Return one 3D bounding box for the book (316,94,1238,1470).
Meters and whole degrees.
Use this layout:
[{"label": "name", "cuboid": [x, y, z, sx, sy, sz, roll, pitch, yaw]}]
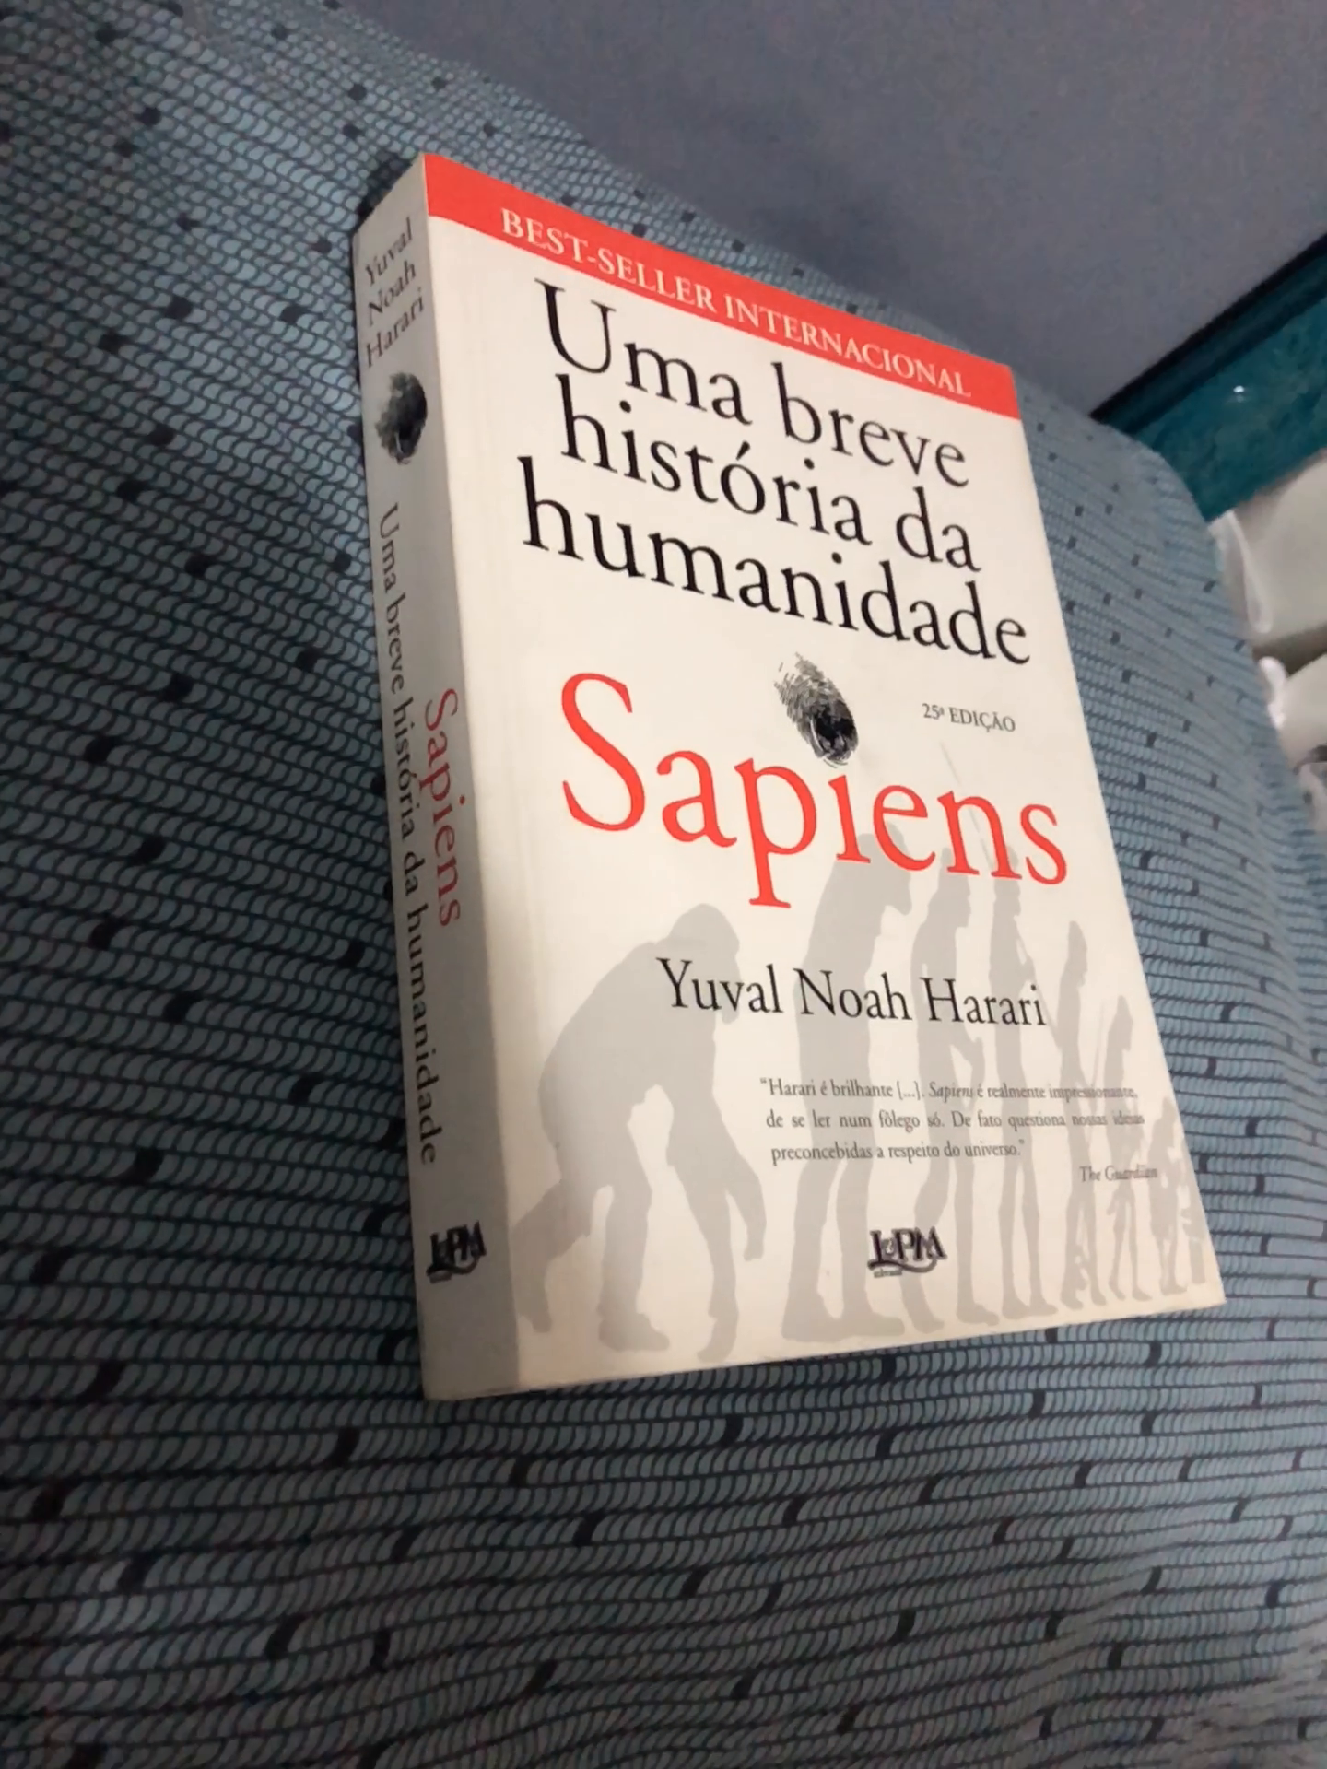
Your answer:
[{"label": "book", "cuboid": [0.020, -0.022, 0.297, 0.161, 0.040, 0.240, 6, 67, -34]}]
